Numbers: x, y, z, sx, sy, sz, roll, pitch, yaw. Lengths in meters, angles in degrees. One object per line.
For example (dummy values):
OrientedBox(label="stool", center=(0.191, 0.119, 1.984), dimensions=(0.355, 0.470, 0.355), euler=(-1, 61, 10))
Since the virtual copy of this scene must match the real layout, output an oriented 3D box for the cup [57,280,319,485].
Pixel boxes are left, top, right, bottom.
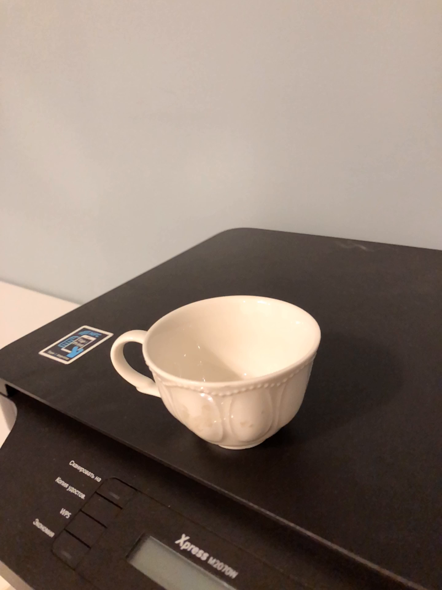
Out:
OrientedBox(label="cup", center=(-0.007, 0.032, 0.220), dimensions=(0.094, 0.044, 0.076), euler=(4, 27, 15))
